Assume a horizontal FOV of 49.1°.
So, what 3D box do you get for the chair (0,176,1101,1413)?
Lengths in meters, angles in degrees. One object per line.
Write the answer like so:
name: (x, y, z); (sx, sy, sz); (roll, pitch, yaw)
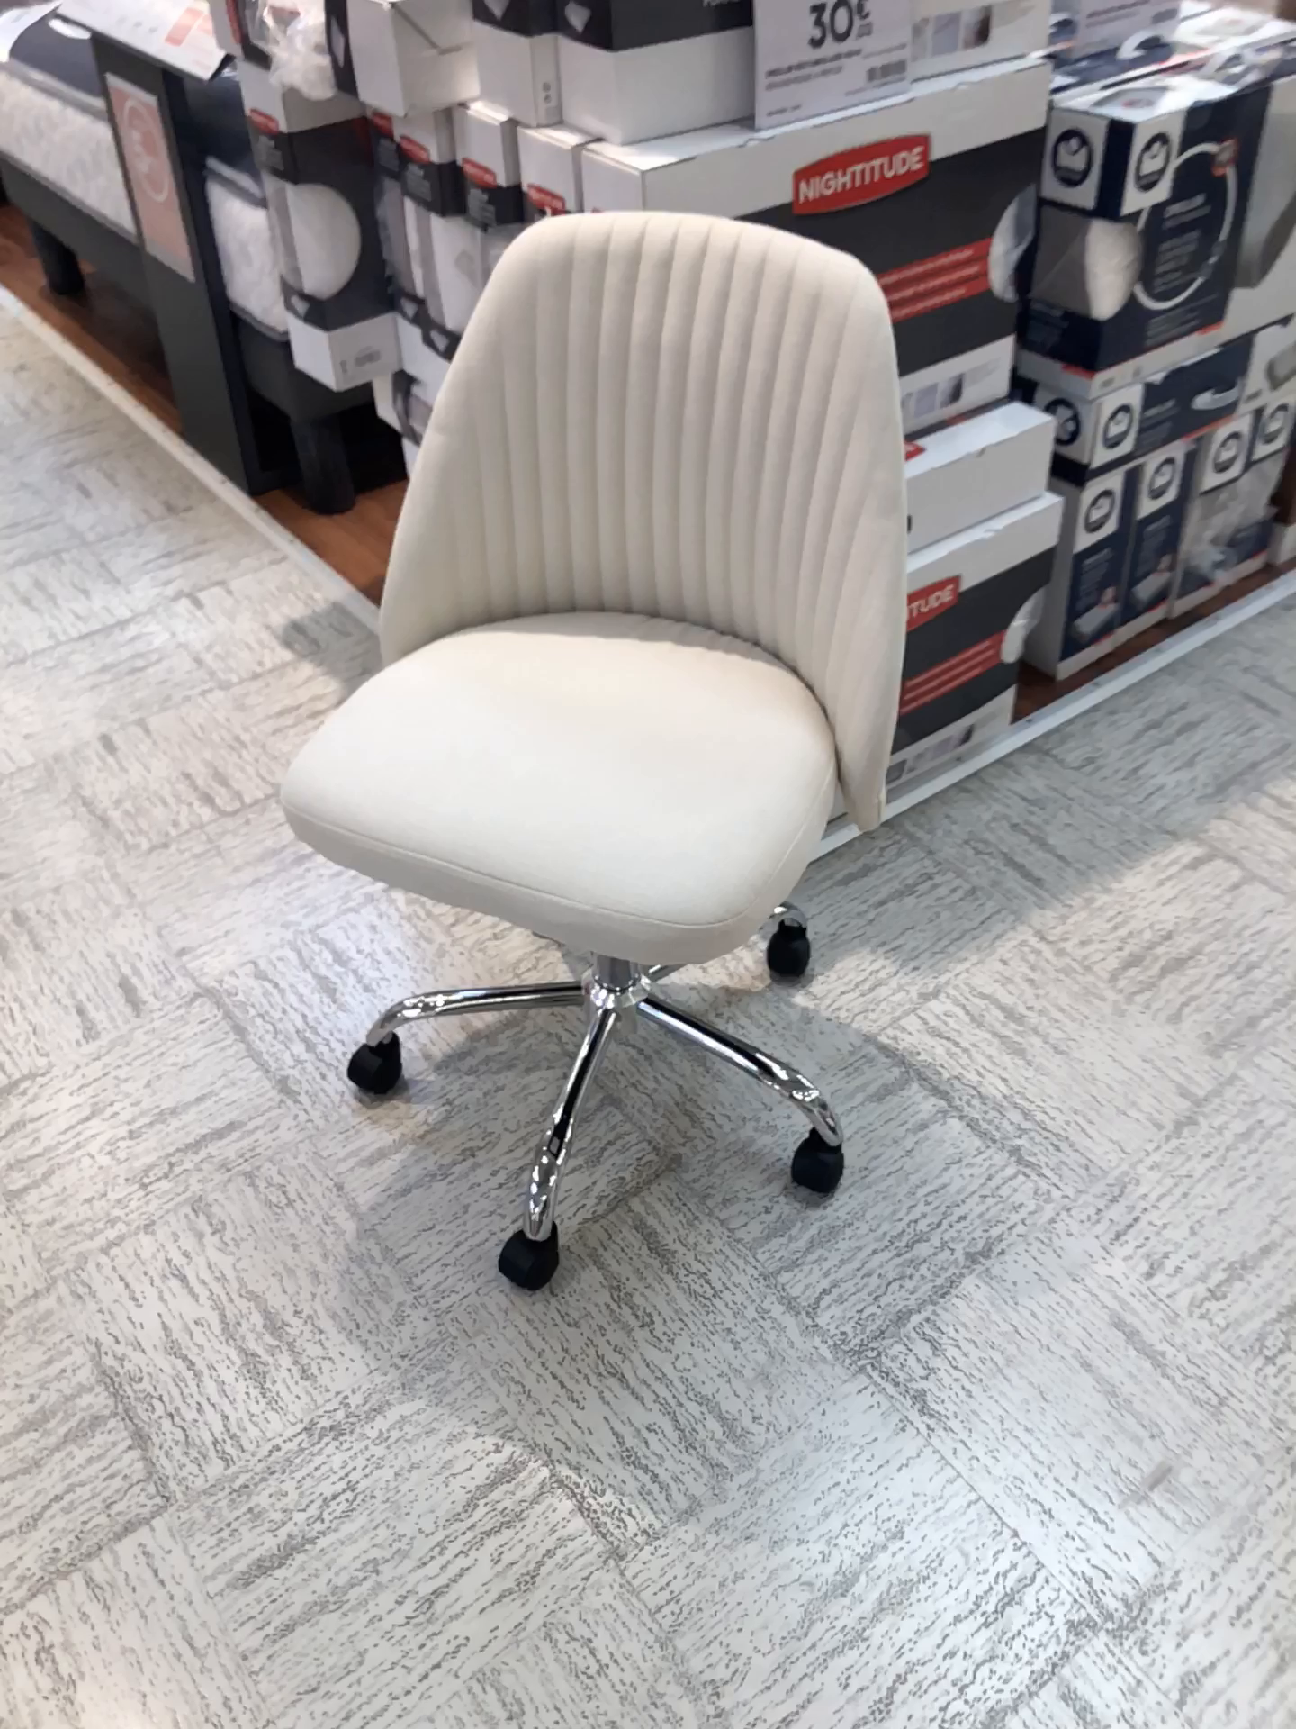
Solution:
chair: (-0.053, -0.085, 1.292); (0.700, 0.785, 0.634); (12, 44, 15)
